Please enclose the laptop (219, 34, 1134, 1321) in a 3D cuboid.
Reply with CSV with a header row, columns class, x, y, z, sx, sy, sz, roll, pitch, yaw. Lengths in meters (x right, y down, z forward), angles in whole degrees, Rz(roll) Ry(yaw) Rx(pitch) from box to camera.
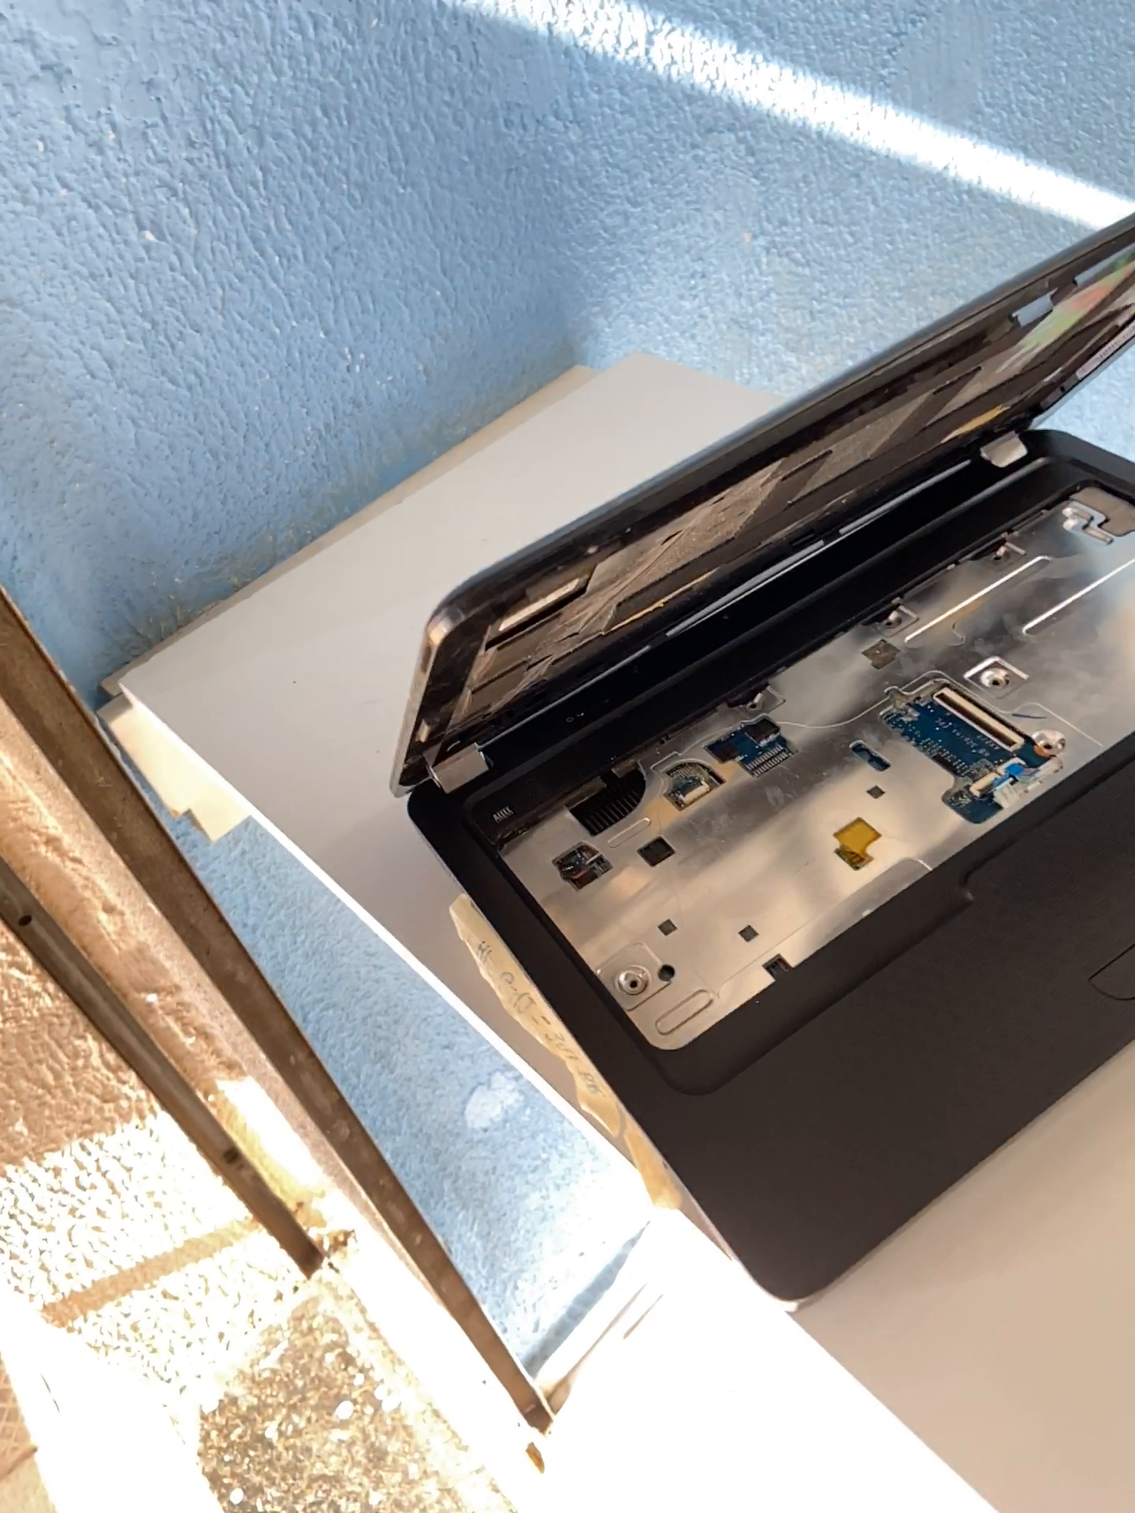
class,x,y,z,sx,sy,sz,roll,pitch,yaw
laptop,0.113,-0.061,0.345,0.327,0.153,0.223,-31,46,-16
